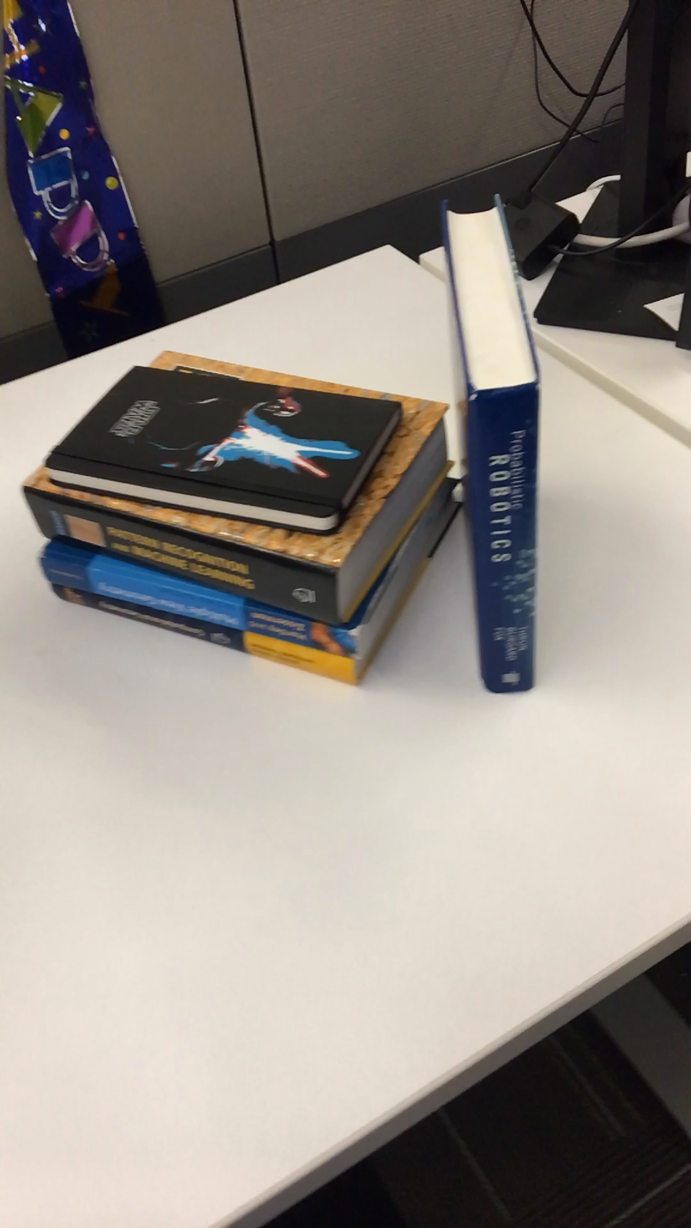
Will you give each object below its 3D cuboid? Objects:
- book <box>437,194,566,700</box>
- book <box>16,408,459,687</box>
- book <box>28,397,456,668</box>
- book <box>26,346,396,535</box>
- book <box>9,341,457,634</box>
[{"bbox_3d":[0.090,-0.102,0.639,0.050,0.230,0.210,-3,46,4],"label":"book"},{"bbox_3d":[-0.073,-0.061,0.744,0.260,0.030,0.190,16,50,20],"label":"book"},{"bbox_3d":[-0.066,-0.069,0.722,0.240,0.030,0.190,14,49,19],"label":"book"},{"bbox_3d":[-0.083,-0.118,0.659,0.200,0.020,0.130,12,49,17],"label":"book"},{"bbox_3d":[-0.070,-0.097,0.694,0.240,0.050,0.180,16,50,21],"label":"book"}]
